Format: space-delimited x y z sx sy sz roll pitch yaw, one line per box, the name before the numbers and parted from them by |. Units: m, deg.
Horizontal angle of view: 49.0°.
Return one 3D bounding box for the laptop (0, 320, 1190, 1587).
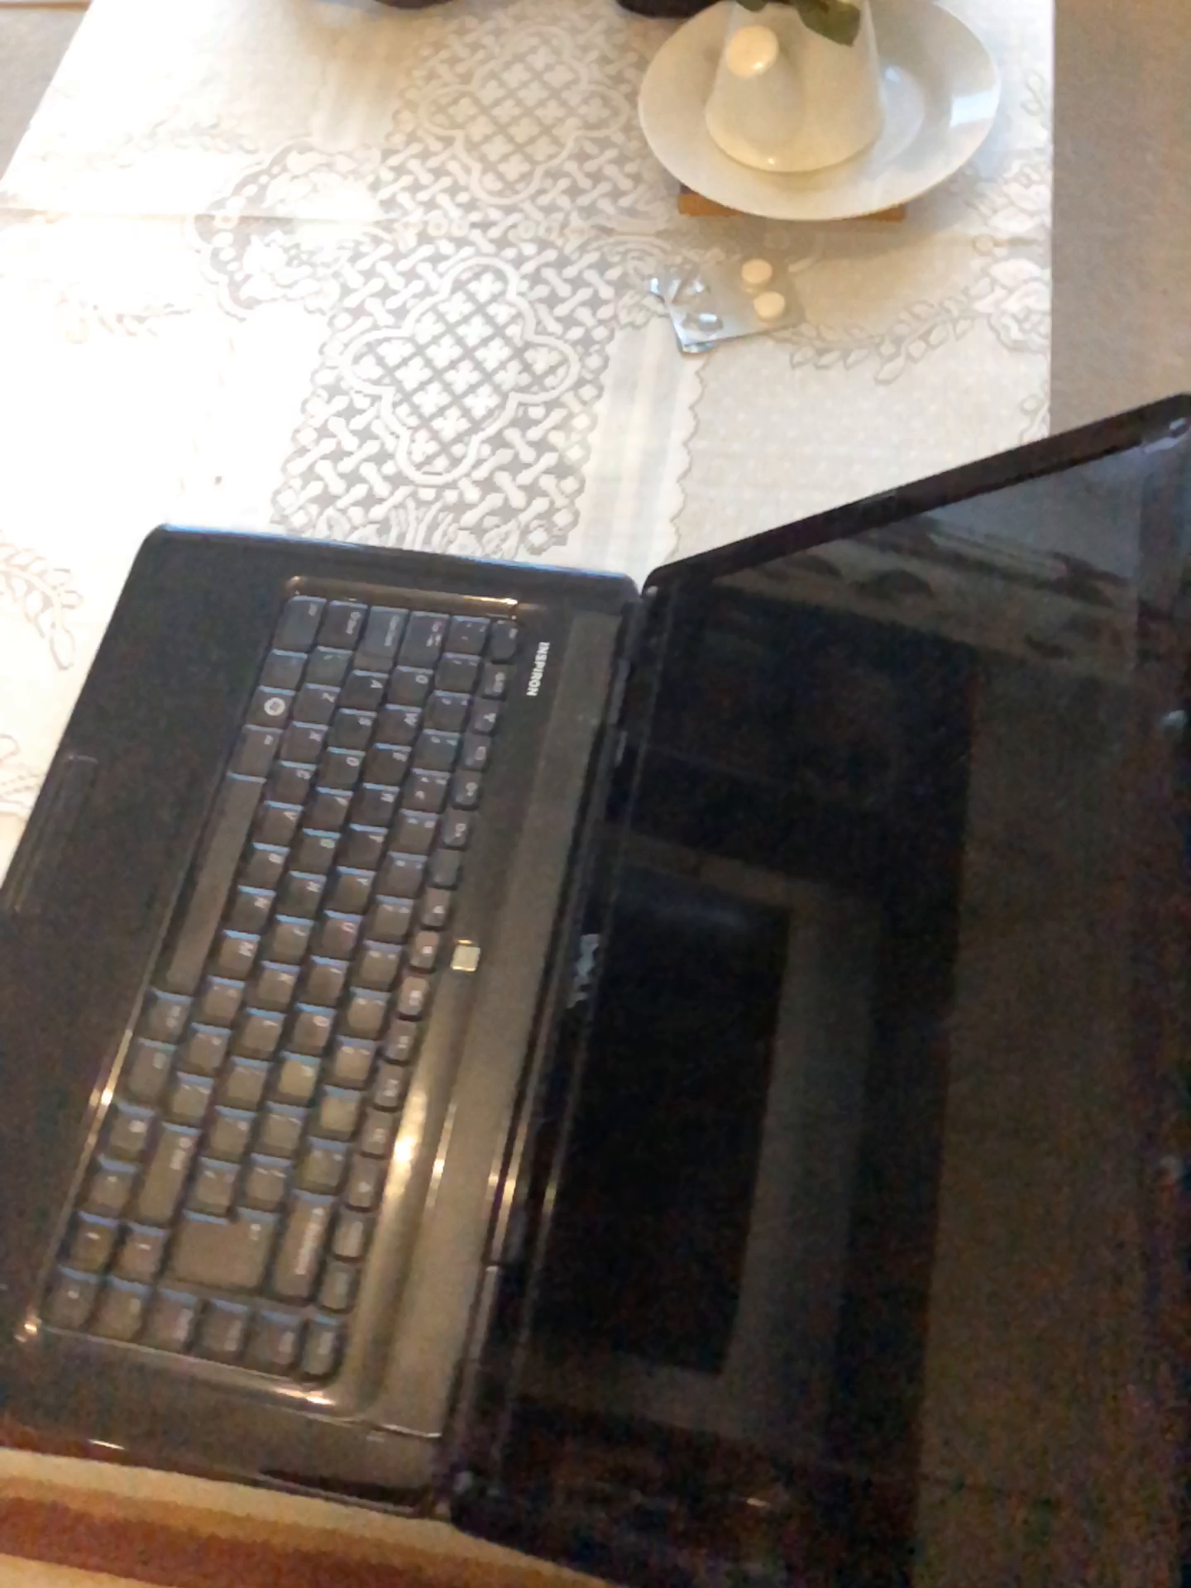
laptop | -0.033 0.034 0.434 0.418 0.122 0.365 7 65 10
